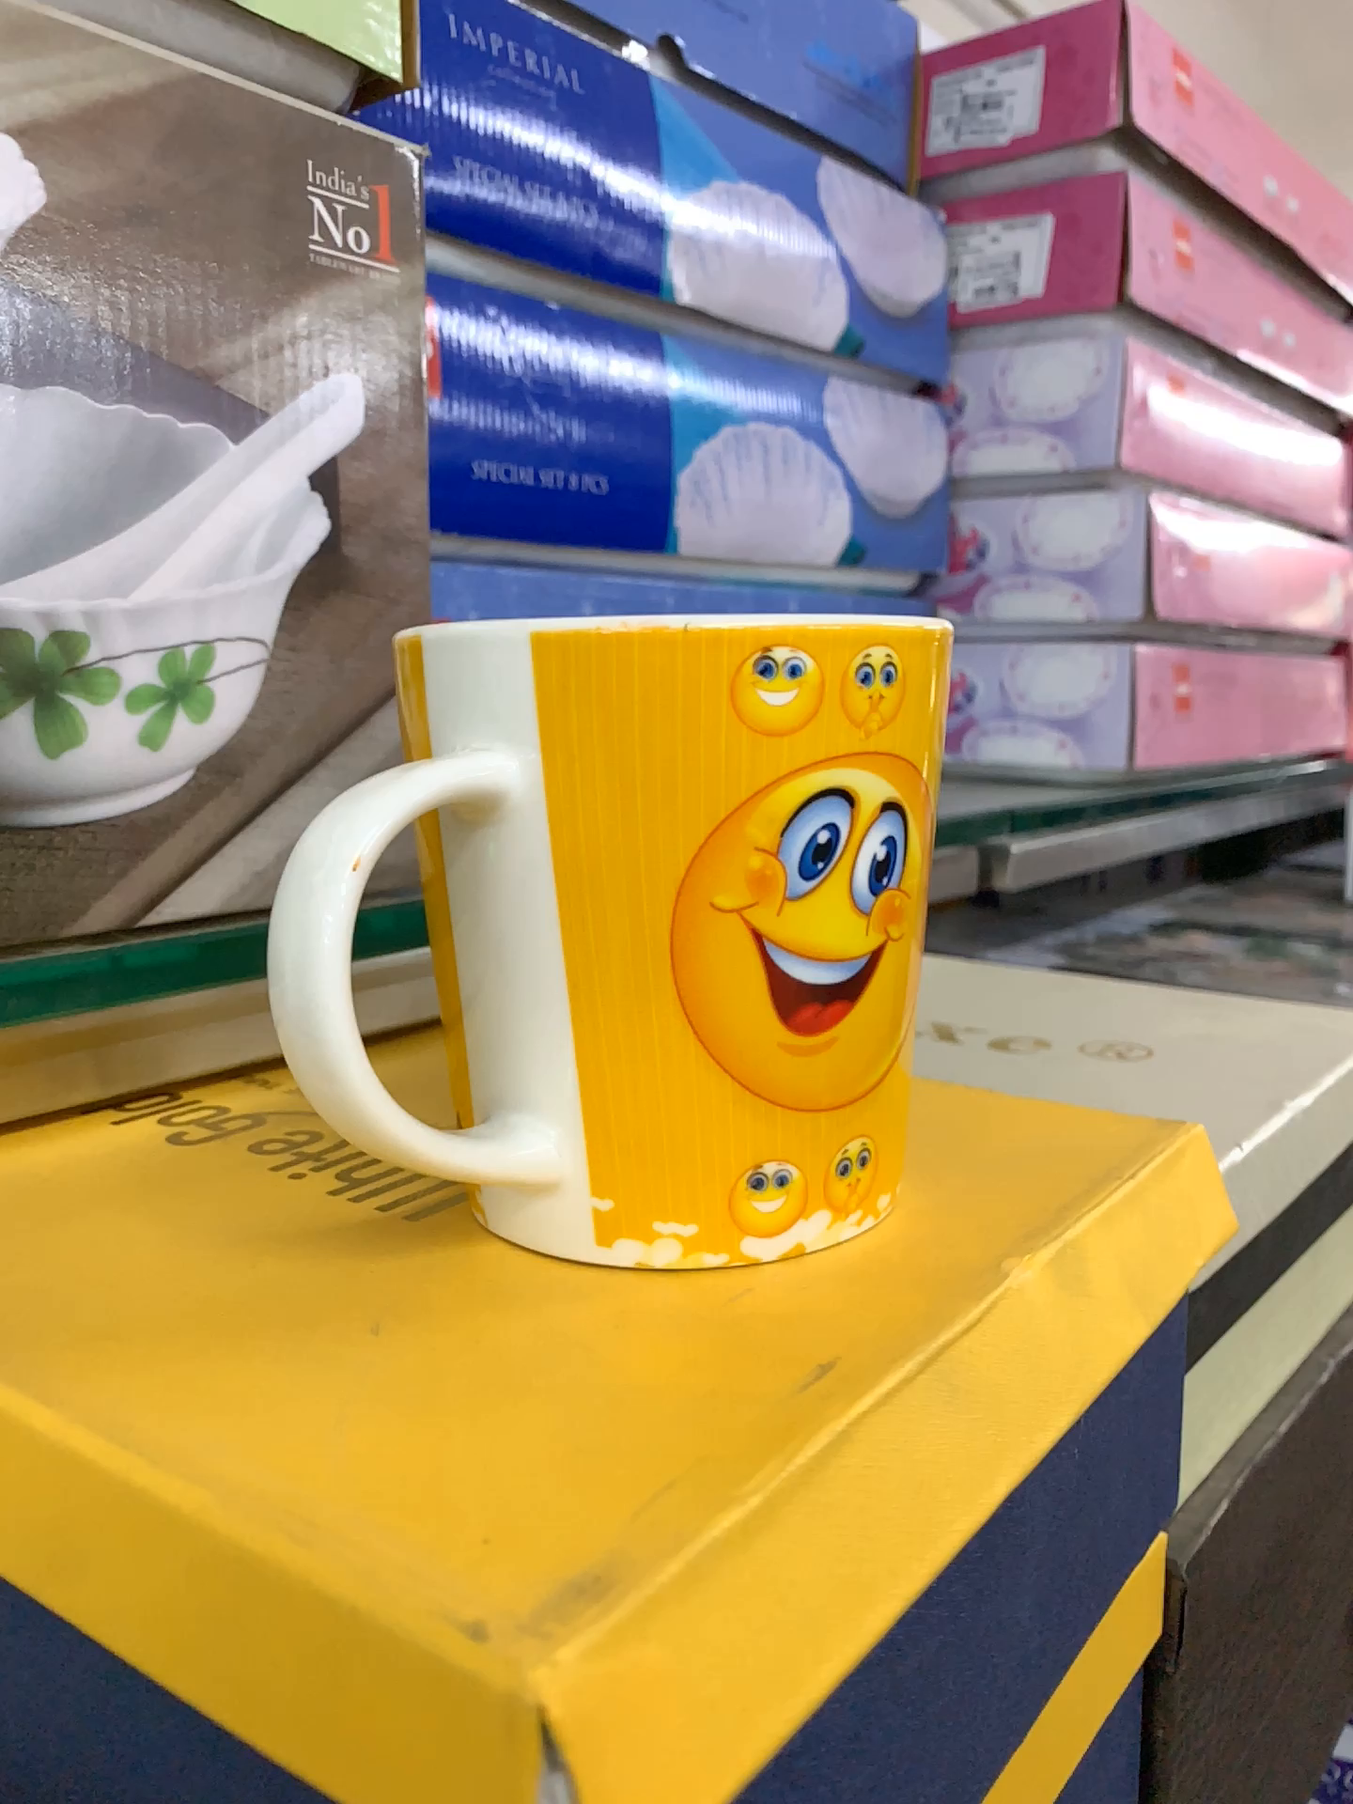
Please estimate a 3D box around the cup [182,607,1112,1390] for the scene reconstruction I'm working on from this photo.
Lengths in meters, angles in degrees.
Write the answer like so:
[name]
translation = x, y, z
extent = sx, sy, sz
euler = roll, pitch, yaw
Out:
[cup]
translation = 0.001, 0.001, 0.211
extent = 0.072, 0.081, 0.119
euler = 9, 12, 44
